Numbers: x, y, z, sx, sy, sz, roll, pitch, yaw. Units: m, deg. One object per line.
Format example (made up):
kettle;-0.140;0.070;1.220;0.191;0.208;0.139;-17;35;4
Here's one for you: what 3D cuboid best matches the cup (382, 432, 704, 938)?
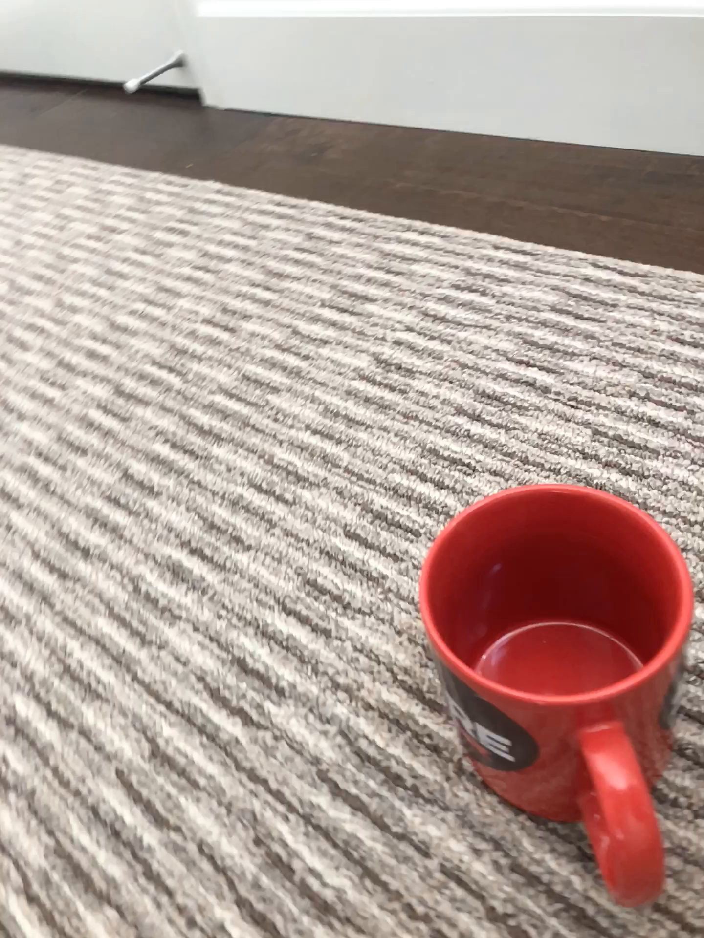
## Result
cup;0.089;0.090;0.318;0.110;0.119;0.151;-15;43;5
